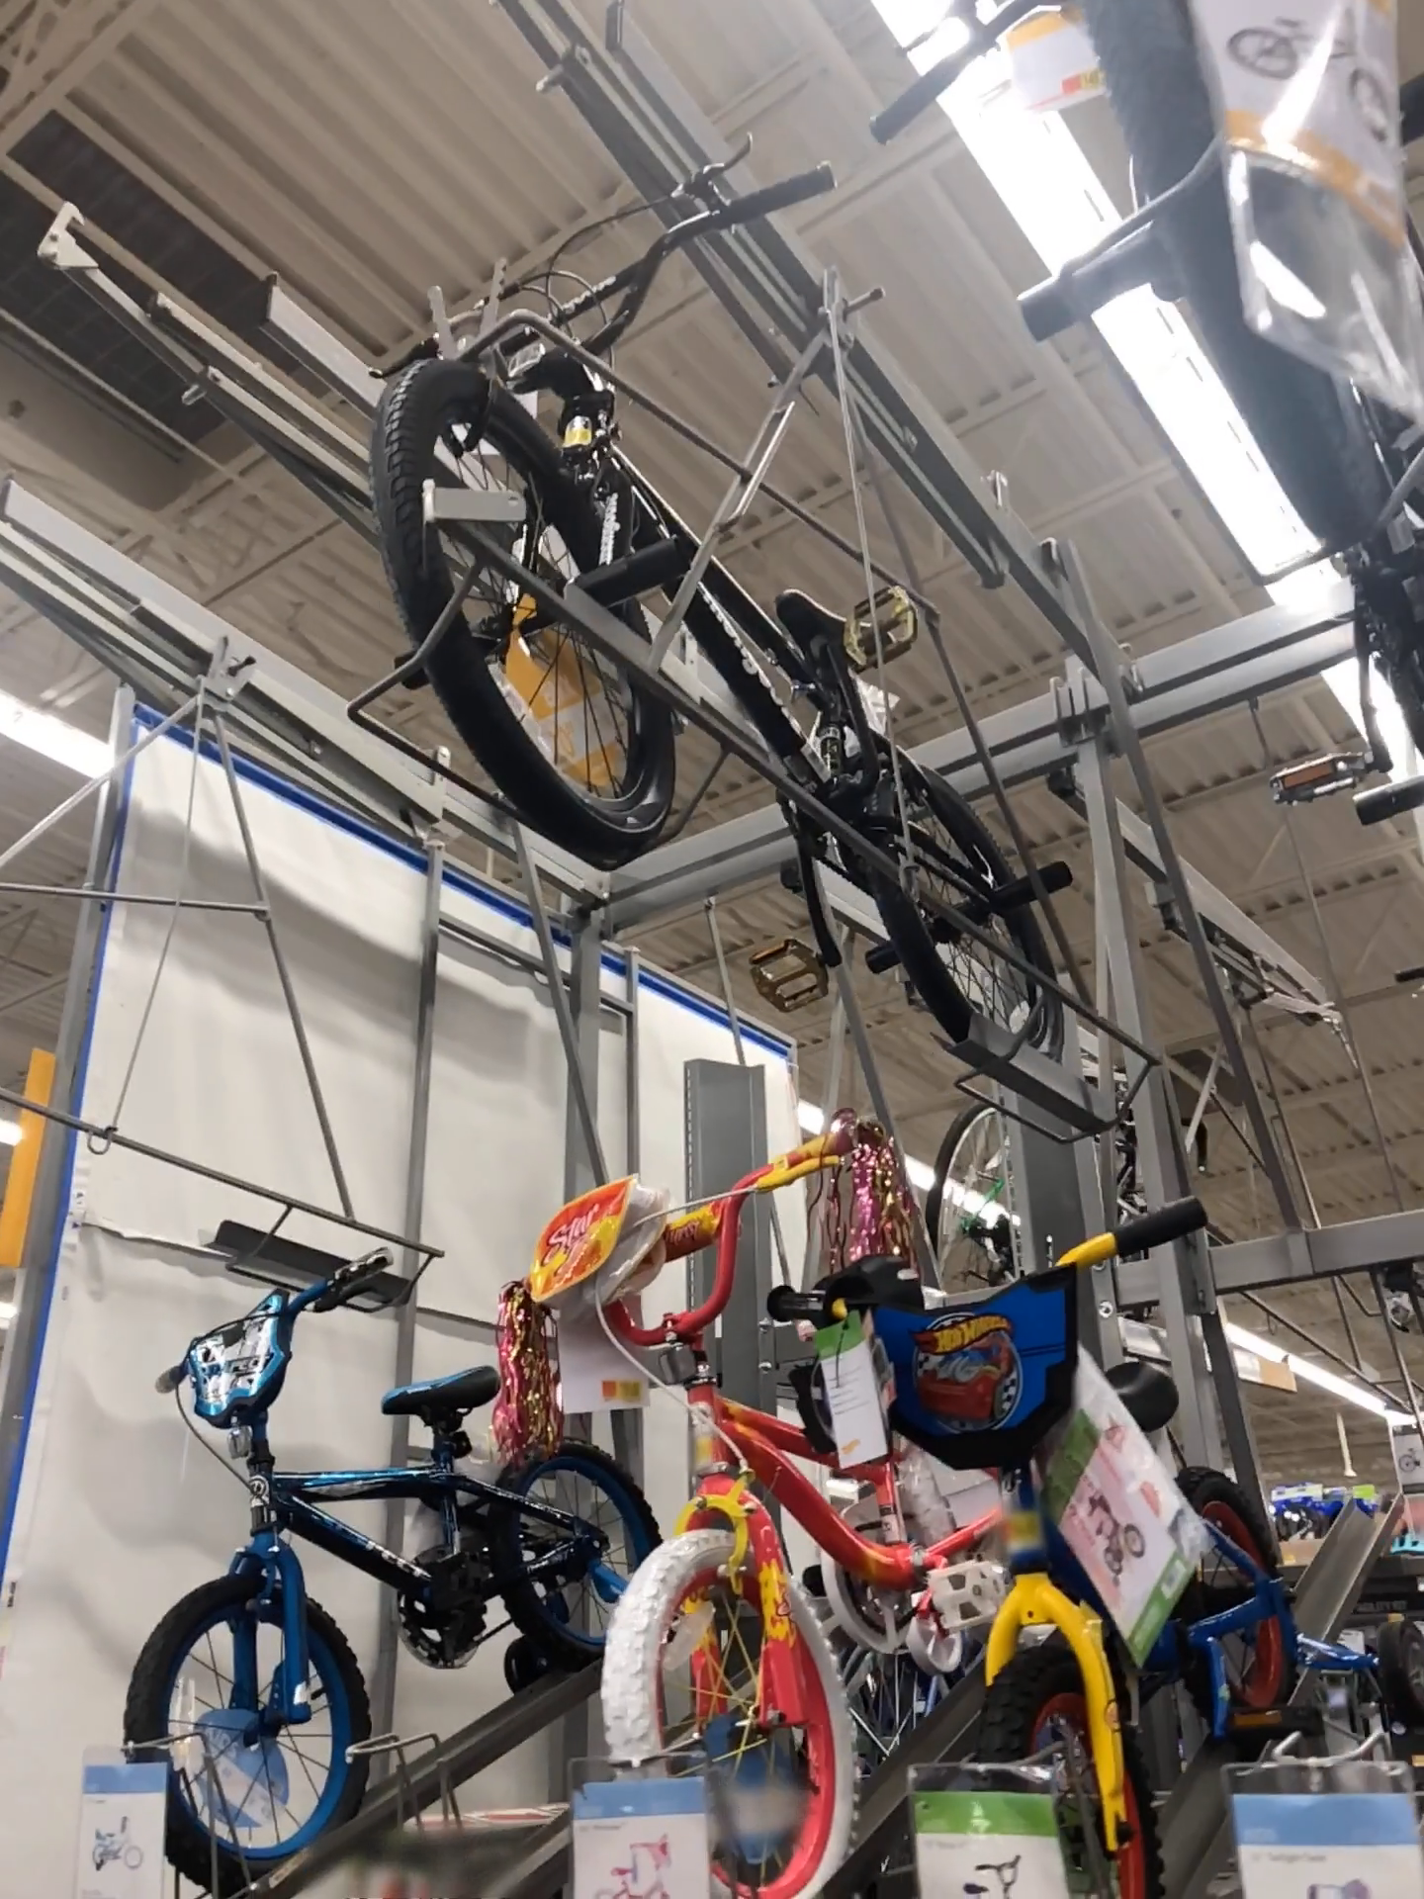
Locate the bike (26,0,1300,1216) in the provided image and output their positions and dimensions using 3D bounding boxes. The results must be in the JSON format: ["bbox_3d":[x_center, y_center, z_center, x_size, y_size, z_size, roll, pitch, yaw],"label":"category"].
[{"bbox_3d":[0.052,-0.330,1.943,0.753,0.909,1.348,-19,-32,32],"label":"bike"}]
